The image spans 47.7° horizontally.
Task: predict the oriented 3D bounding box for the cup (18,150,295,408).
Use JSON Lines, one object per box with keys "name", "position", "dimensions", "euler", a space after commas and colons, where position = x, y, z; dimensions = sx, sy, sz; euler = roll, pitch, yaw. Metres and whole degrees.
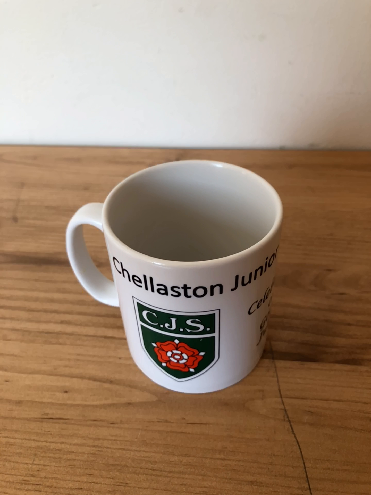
{"name": "cup", "position": [-0.003, 0.012, 0.224], "dimensions": [0.110, 0.095, 0.084], "euler": [4, 39, 15]}
